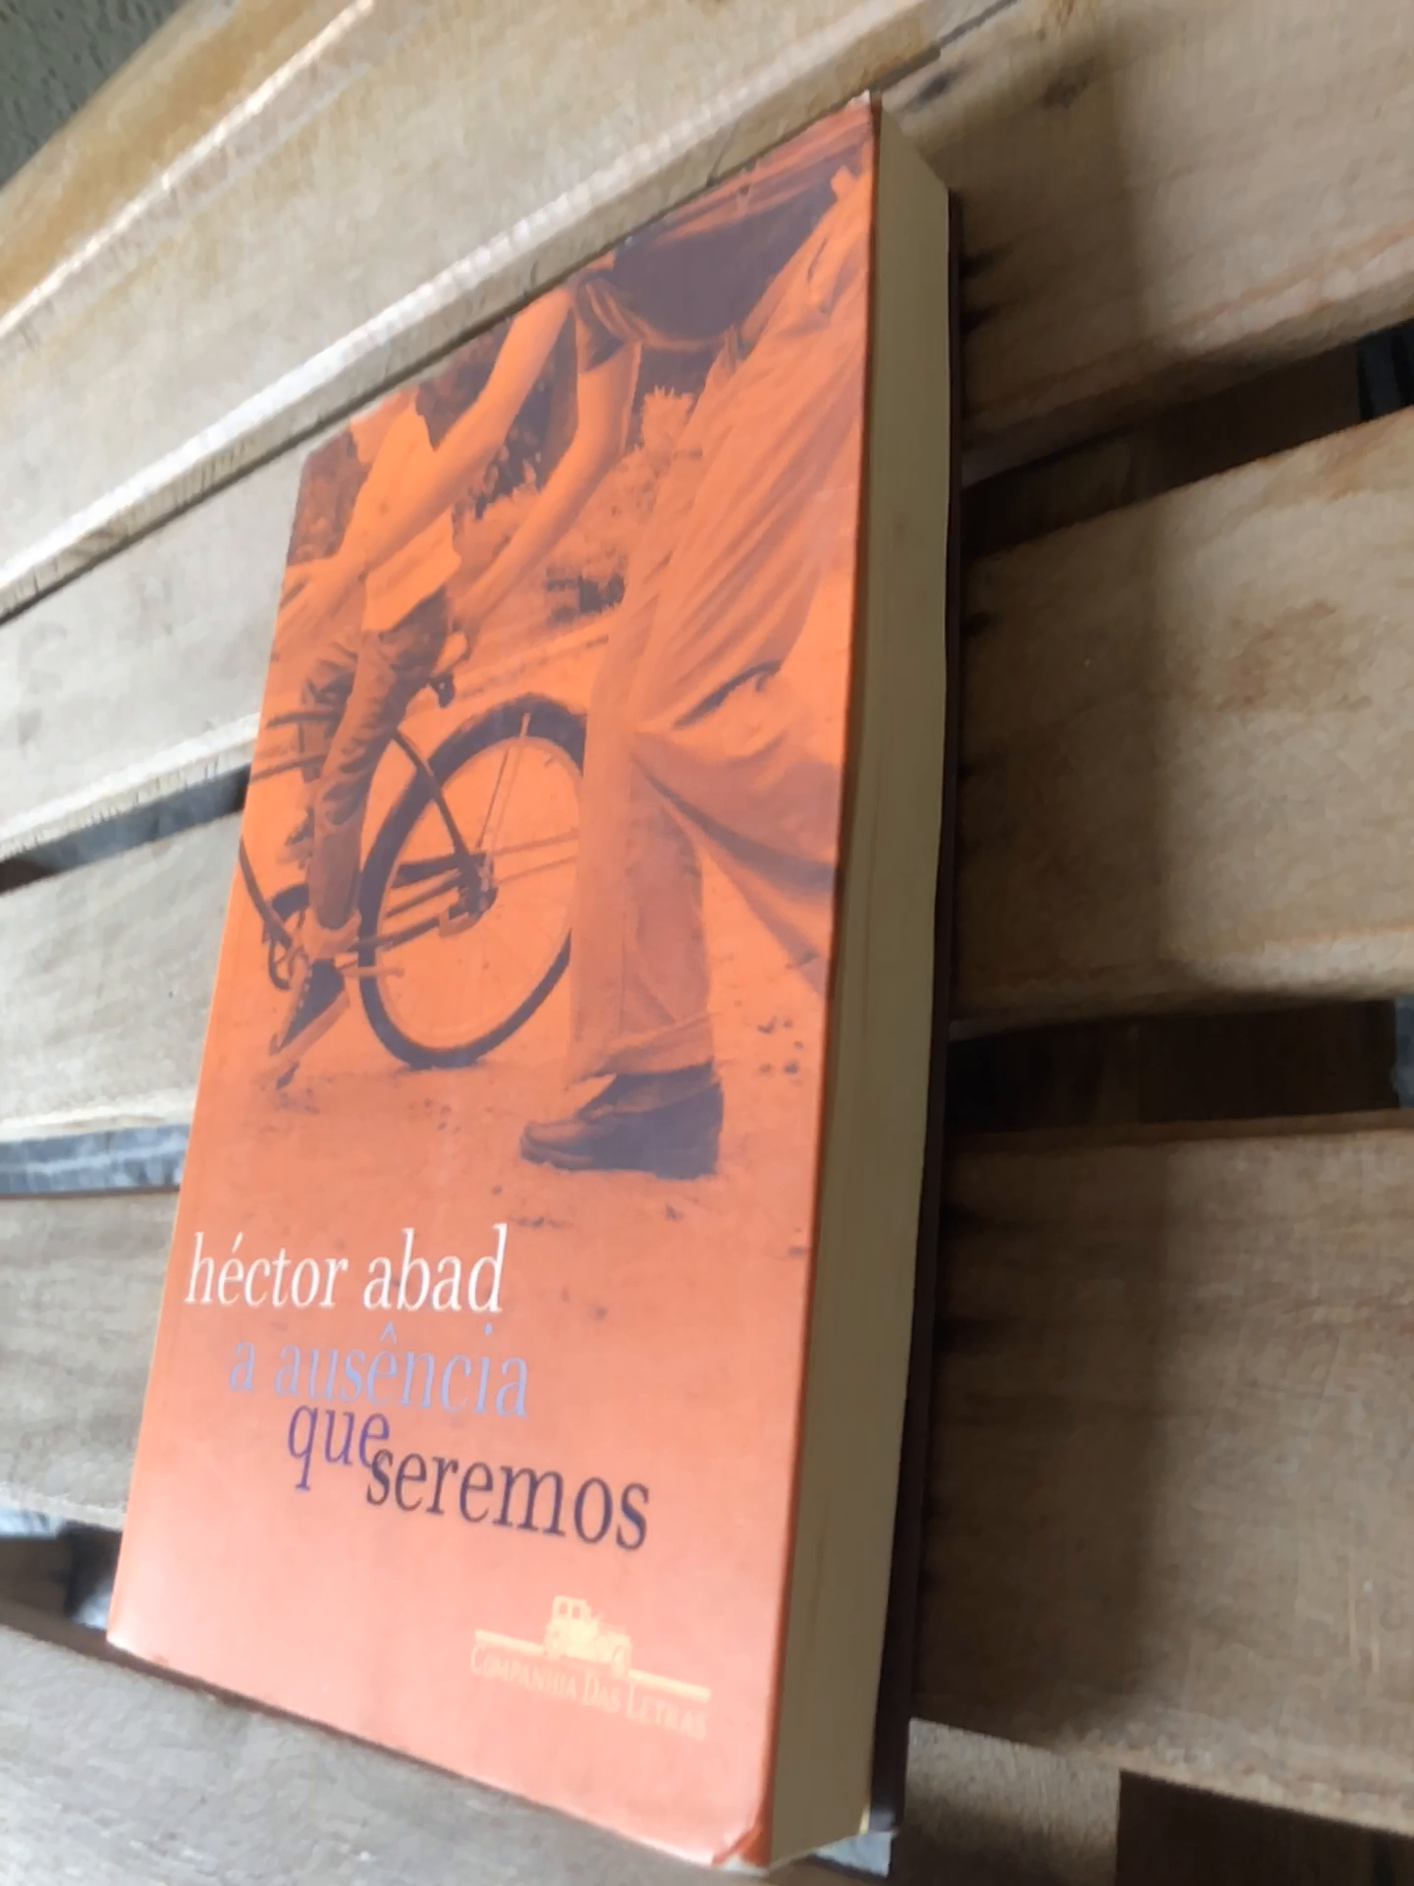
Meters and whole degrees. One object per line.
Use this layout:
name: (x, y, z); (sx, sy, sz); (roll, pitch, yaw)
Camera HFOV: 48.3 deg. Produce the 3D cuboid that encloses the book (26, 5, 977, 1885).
book: (-0.032, -0.002, 0.213); (0.143, 0.020, 0.200); (-11, 68, 43)
